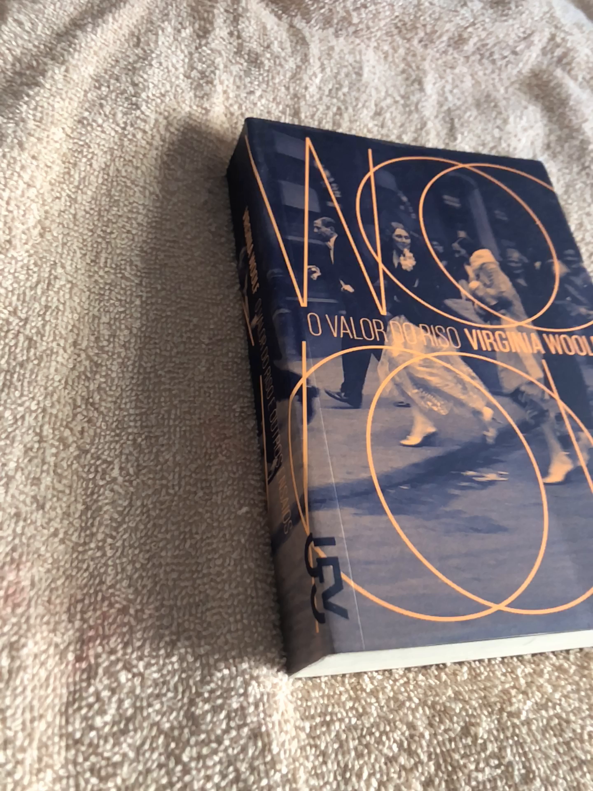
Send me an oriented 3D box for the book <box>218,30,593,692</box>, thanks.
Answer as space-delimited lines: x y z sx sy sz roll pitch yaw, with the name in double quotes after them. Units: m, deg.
0.055 -0.017 0.216 0.140 0.050 0.190 4 61 -22 "book"
